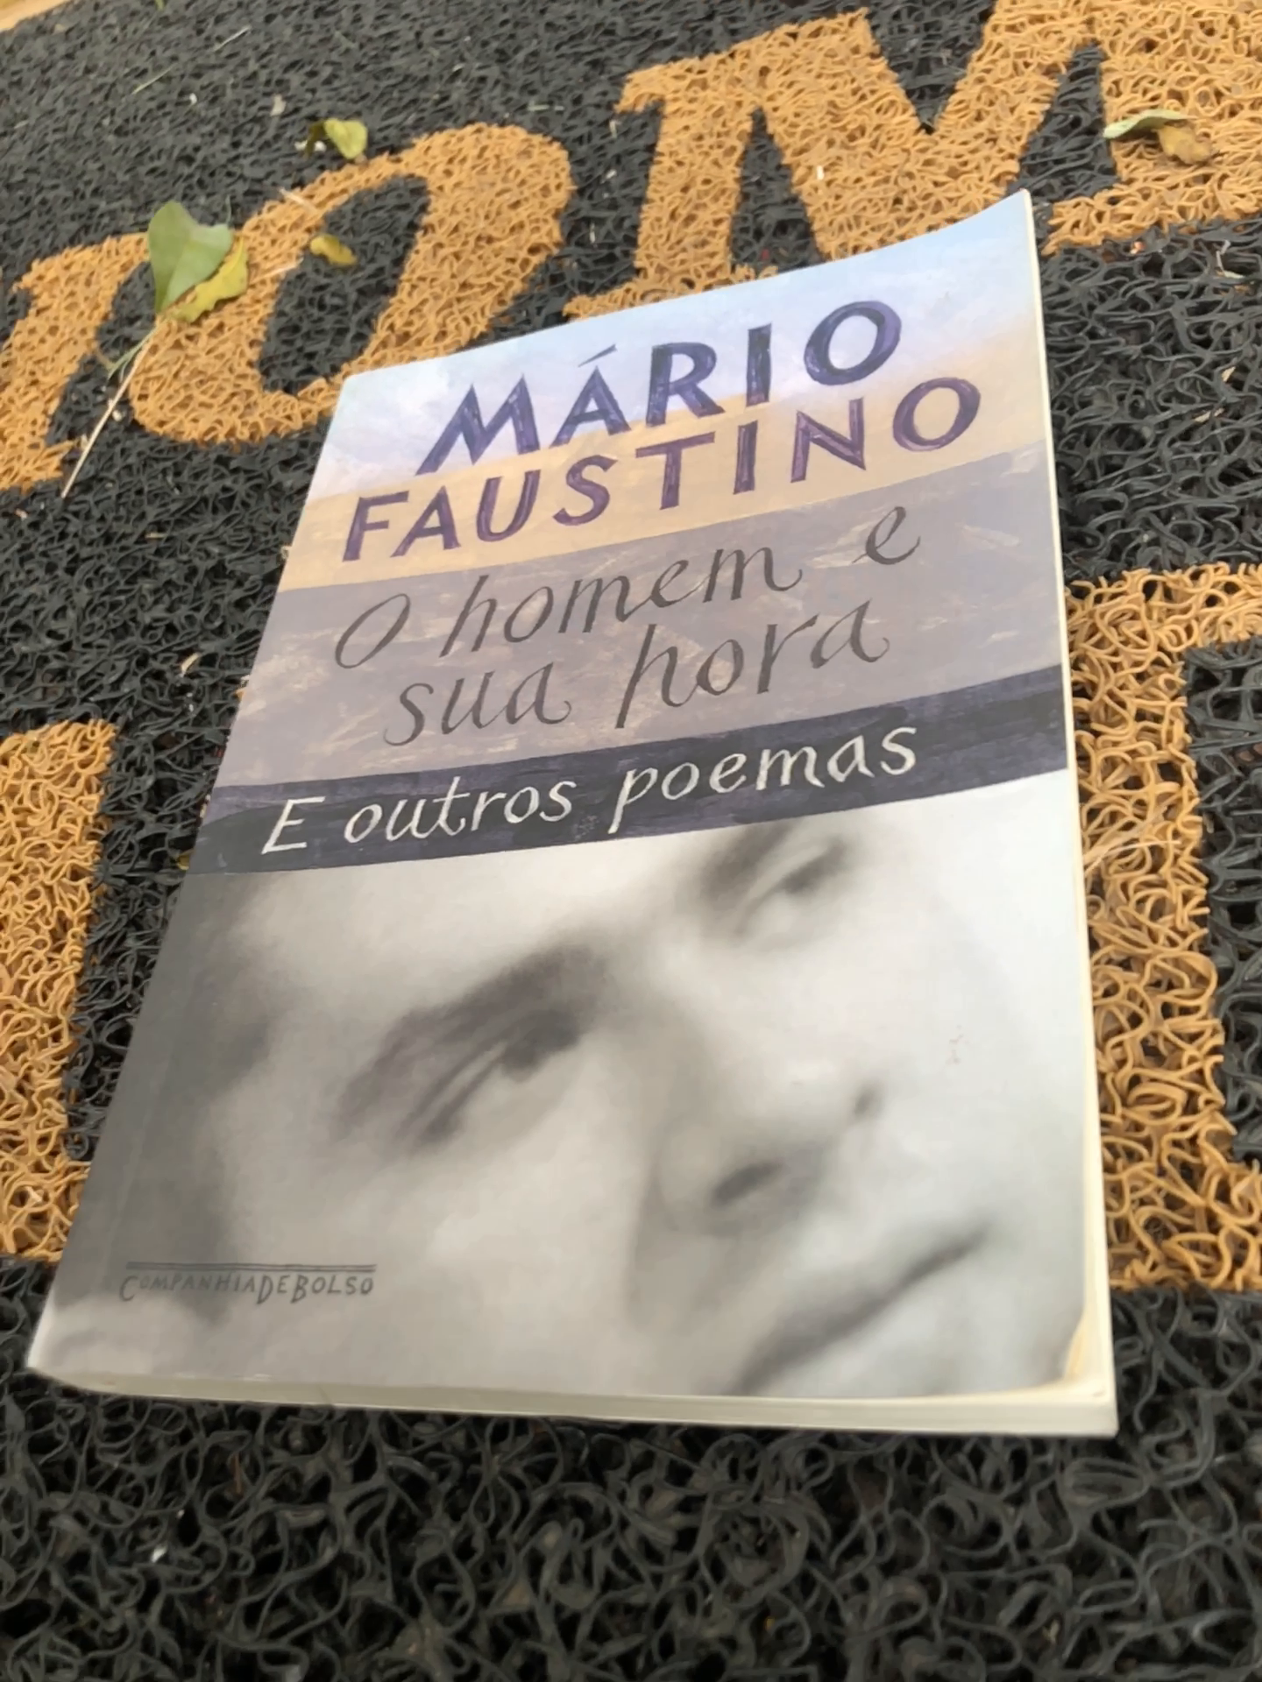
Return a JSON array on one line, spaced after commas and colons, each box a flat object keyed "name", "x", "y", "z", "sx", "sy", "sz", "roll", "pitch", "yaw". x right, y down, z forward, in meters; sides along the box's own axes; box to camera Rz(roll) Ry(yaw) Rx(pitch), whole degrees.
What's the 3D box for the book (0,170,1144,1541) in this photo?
[{"name": "book", "x": -0.007, "y": -0.011, "z": 0.184, "sx": 0.124, "sy": 0.020, "sz": 0.175, "roll": -6, "pitch": 55, "yaw": 21}]
